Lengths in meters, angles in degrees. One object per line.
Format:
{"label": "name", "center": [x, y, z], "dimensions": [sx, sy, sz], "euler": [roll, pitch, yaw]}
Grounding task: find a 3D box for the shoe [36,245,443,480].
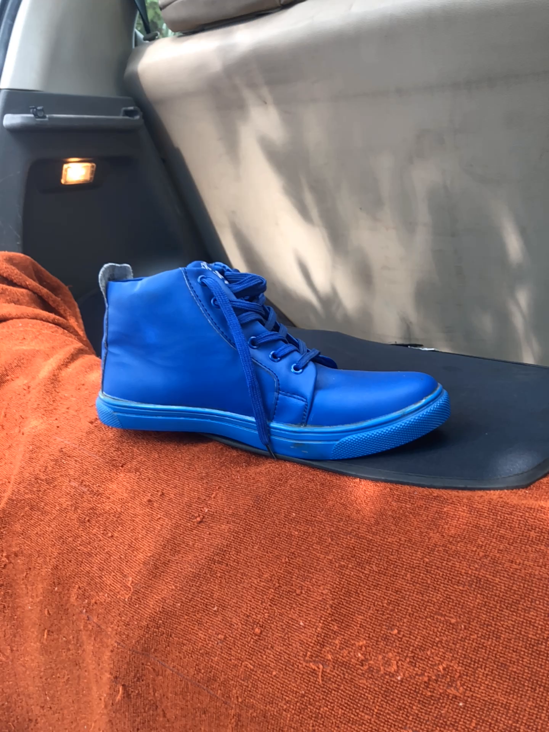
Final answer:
{"label": "shoe", "center": [-0.025, -0.016, 0.477], "dimensions": [0.290, 0.139, 0.100], "euler": [4, 20, 21]}
